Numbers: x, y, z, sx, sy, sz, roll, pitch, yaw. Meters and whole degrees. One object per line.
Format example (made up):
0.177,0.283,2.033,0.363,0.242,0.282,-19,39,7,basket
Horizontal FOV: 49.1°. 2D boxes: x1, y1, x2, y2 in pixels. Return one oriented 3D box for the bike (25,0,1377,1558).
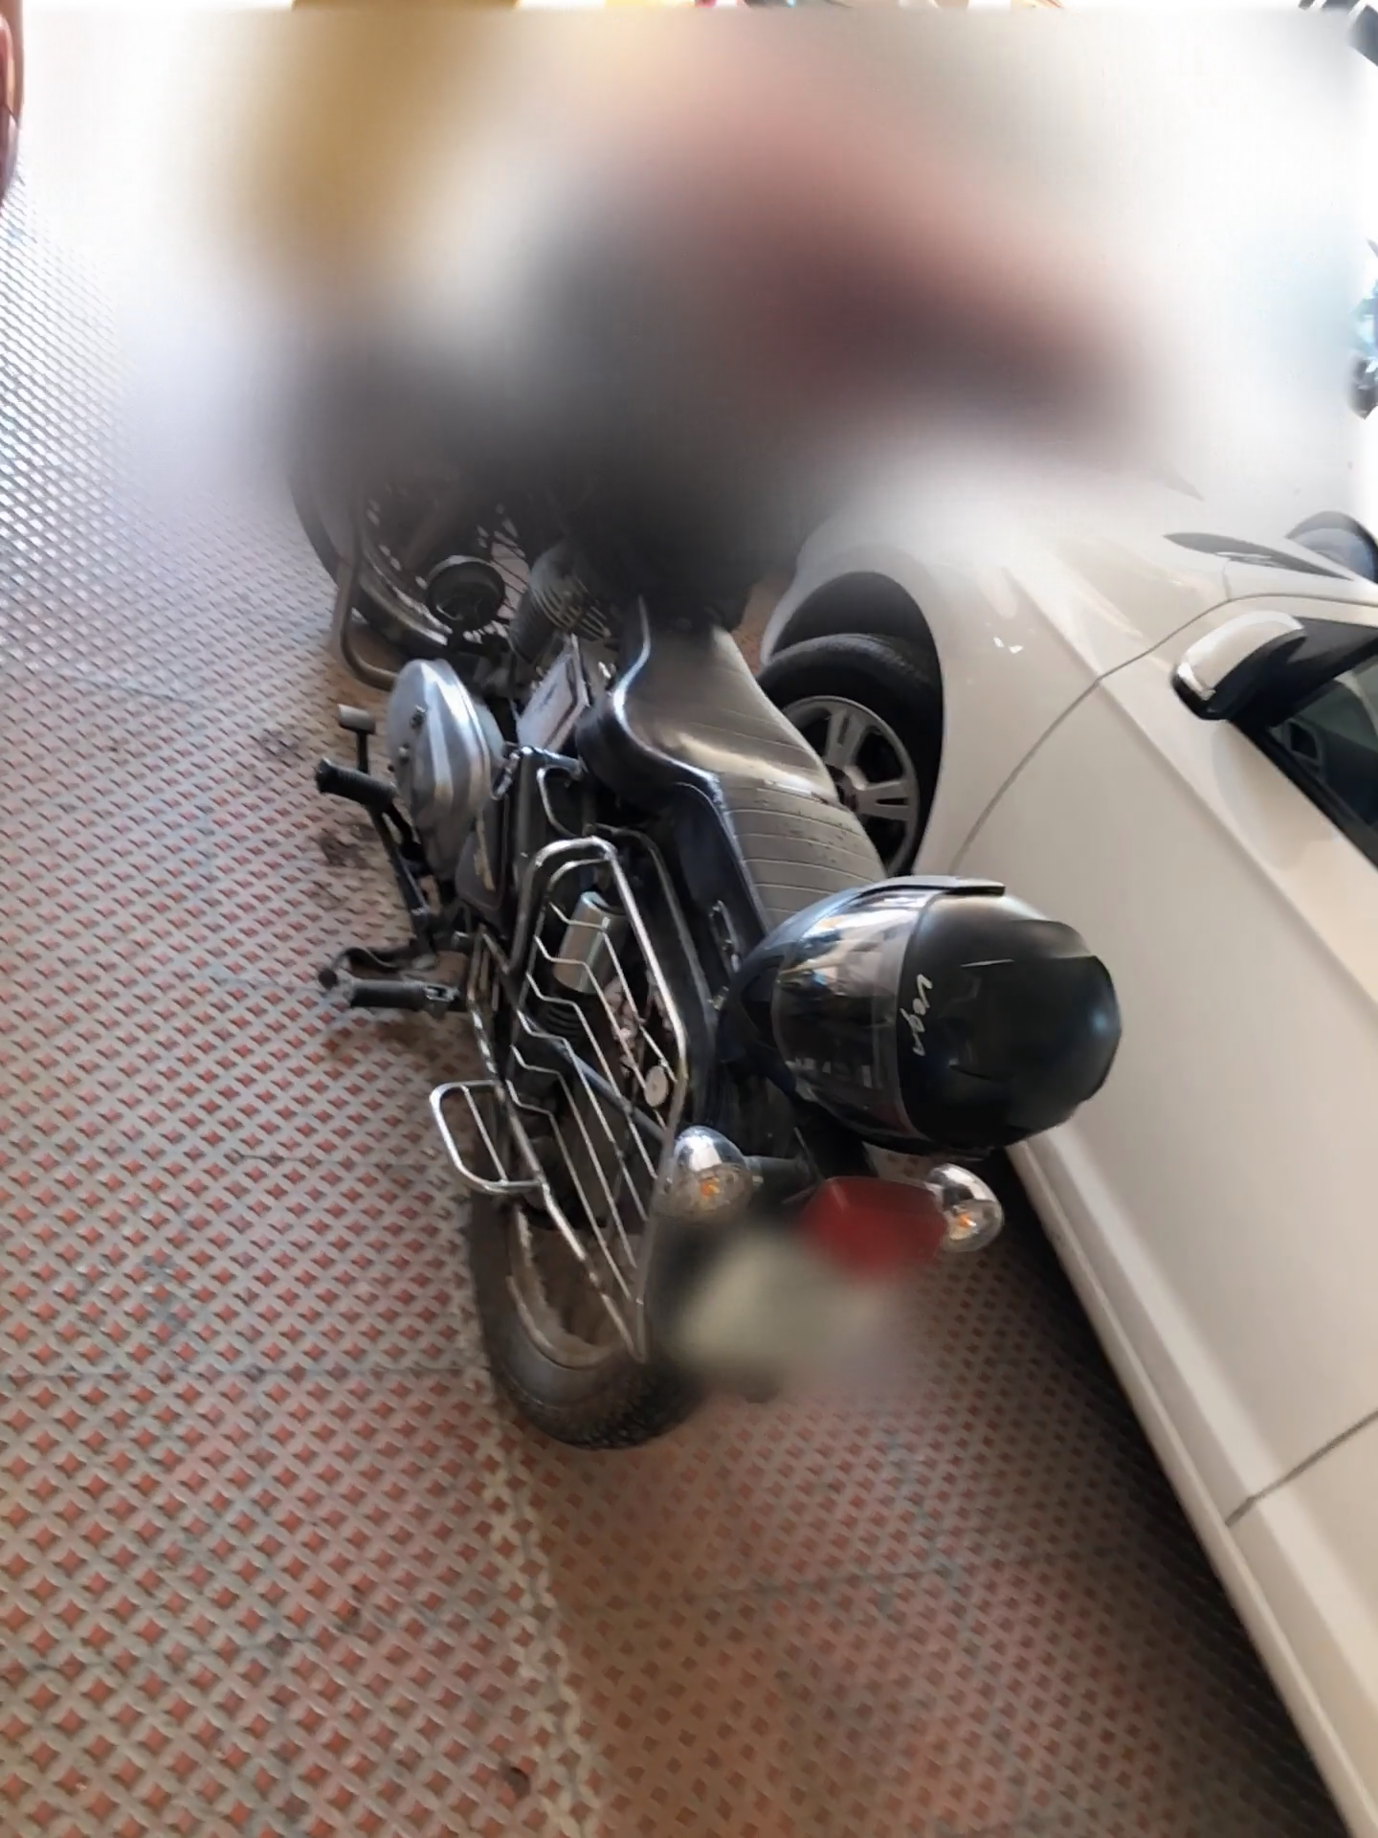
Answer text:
-0.238,-0.353,1.953,0.694,1.217,1.787,5,48,-37,bike
